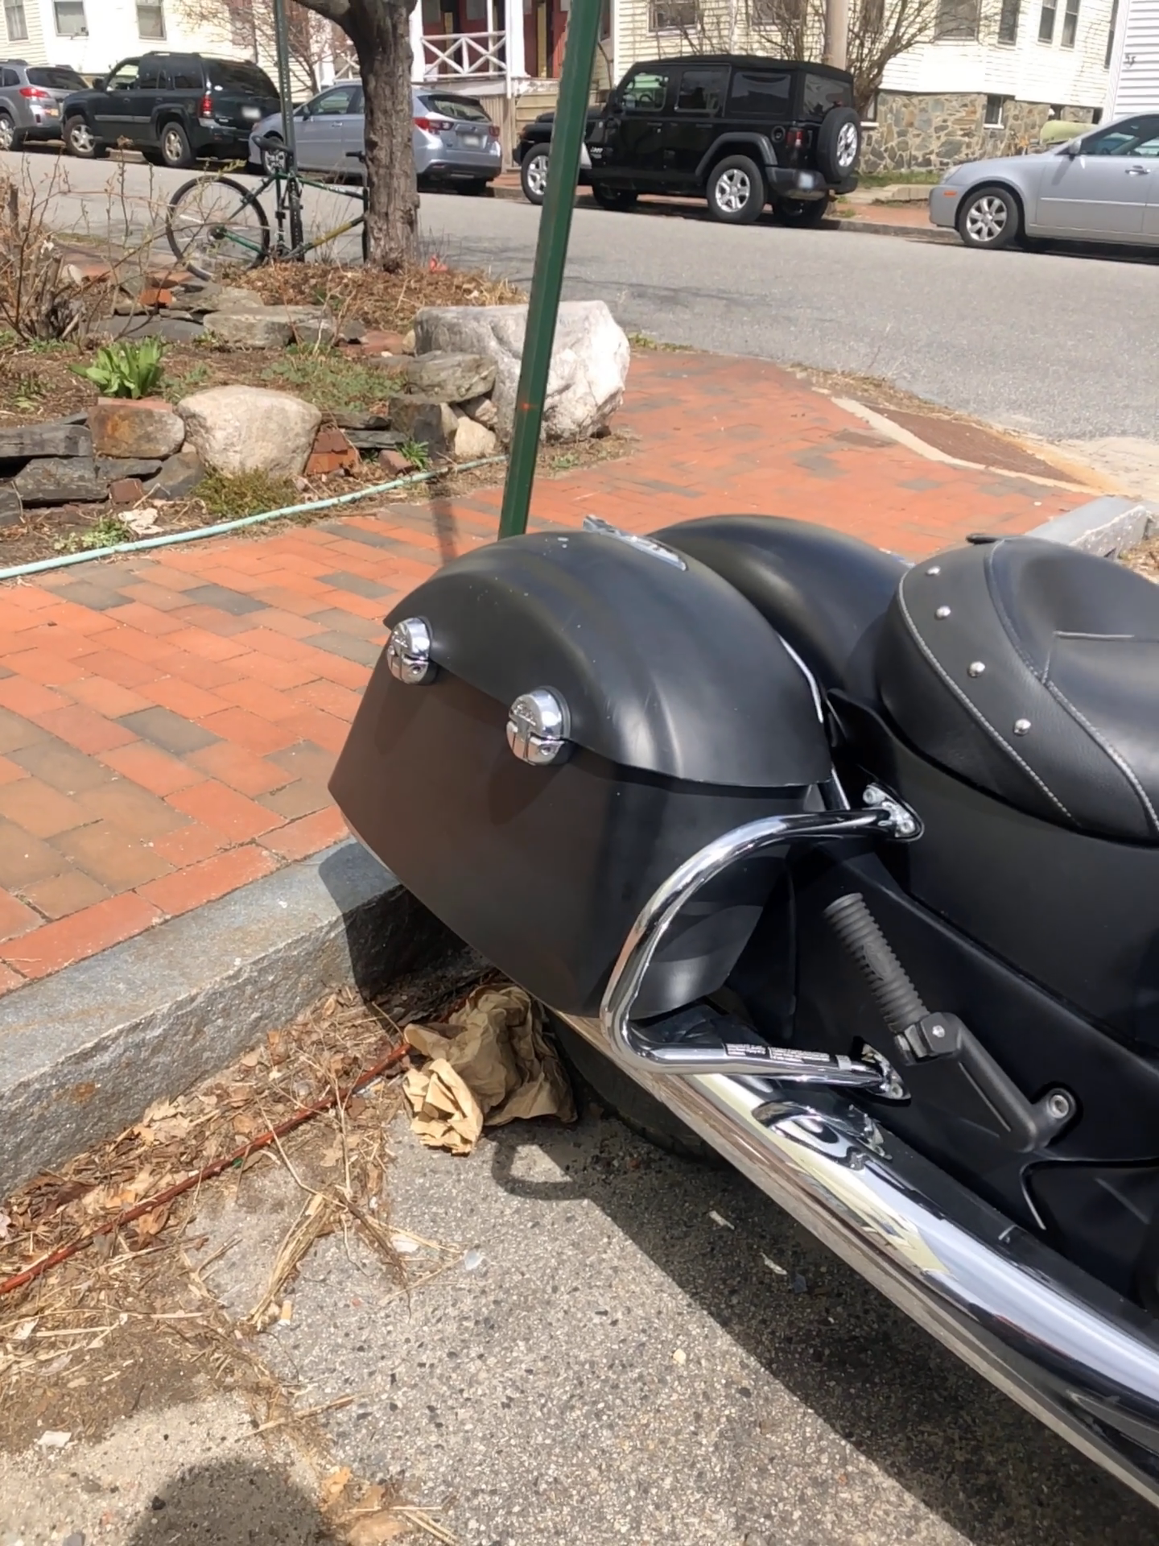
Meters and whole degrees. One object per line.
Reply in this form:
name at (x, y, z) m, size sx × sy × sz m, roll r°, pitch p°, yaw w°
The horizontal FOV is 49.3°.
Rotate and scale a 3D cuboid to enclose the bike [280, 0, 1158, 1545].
bike at (0.746, 0.197, 0.704) m, size 0.783 × 1.238 × 2.130 m, roll -19°, pitch 31°, yaw -35°
